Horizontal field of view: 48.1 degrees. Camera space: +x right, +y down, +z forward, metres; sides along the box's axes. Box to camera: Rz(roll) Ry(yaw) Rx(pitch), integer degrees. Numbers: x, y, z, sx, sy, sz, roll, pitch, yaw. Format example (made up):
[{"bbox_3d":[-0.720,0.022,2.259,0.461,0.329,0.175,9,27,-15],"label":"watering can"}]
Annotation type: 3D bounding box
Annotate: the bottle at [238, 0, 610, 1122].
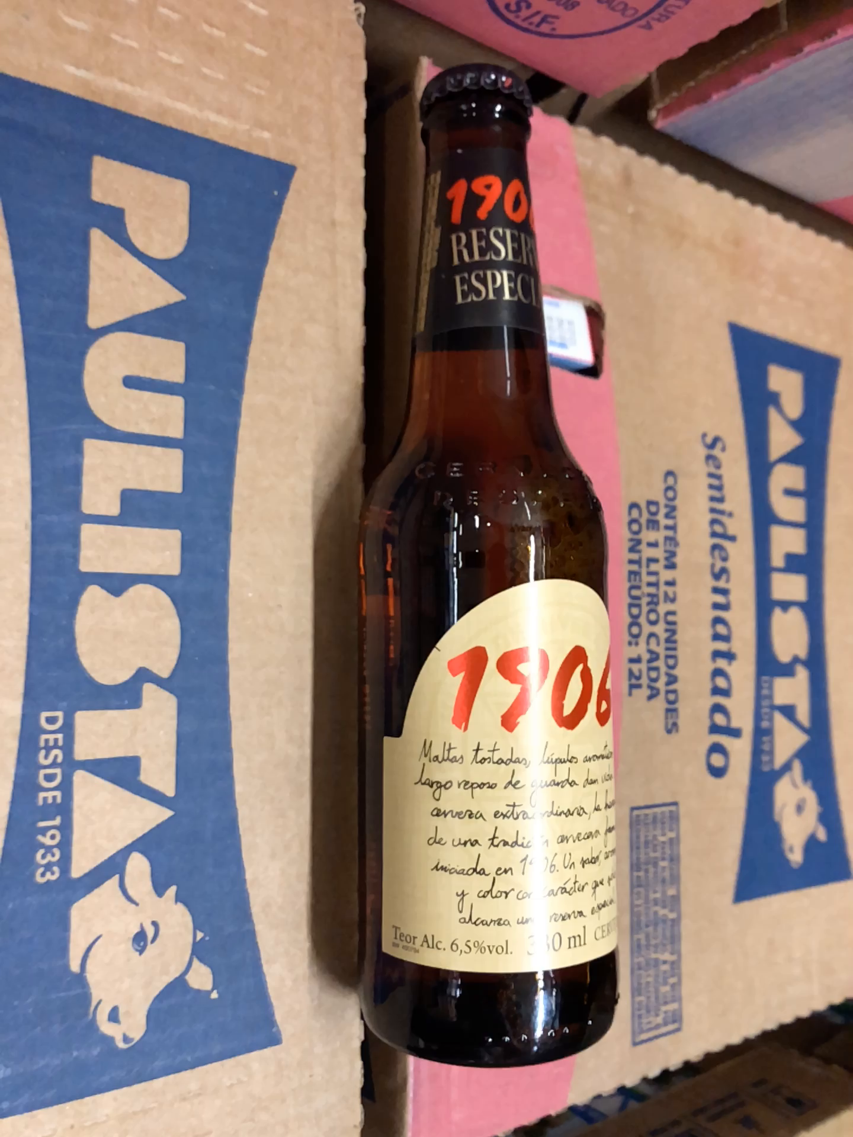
[{"bbox_3d":[0.001,-0.016,0.253,0.070,0.060,0.270,4,86,-38],"label":"bottle"}]
